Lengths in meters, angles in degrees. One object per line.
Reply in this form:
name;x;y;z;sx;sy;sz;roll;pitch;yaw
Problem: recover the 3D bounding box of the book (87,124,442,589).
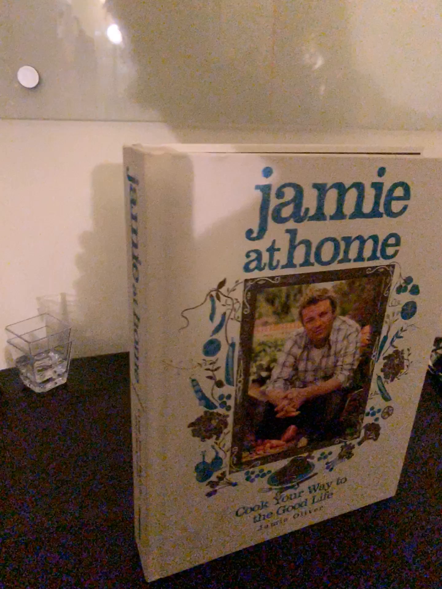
book;0.036;0.039;0.289;0.210;0.269;0.050;-7;24;-21
